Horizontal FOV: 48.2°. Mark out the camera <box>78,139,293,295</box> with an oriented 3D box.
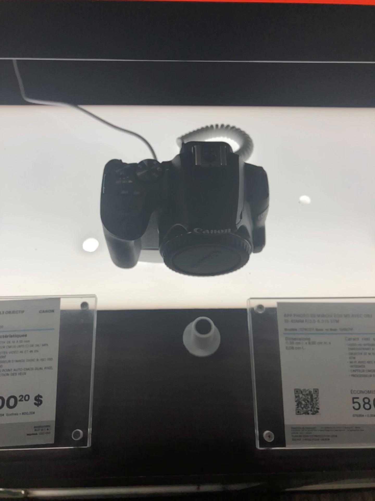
[{"bbox_3d":[-0.003,-0.021,0.292,0.123,0.071,0.080,0,58,-2],"label":"camera"}]
